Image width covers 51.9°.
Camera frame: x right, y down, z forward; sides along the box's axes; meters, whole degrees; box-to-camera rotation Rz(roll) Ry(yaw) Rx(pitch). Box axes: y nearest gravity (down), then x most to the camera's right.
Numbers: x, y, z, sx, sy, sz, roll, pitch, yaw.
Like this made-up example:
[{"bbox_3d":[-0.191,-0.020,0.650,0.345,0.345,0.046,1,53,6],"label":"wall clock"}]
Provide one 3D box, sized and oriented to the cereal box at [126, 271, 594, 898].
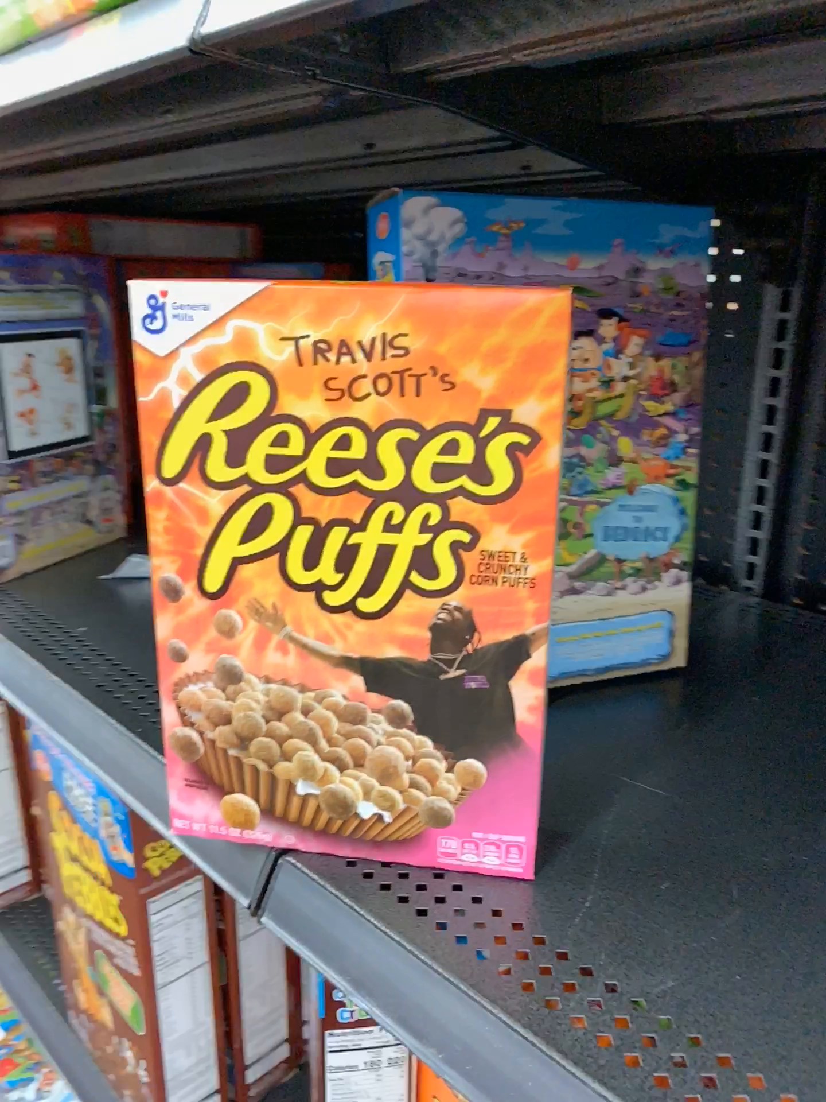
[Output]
[{"bbox_3d":[-0.023,0.016,0.415,0.200,0.289,0.050,3,16,11],"label":"cereal box"}]
